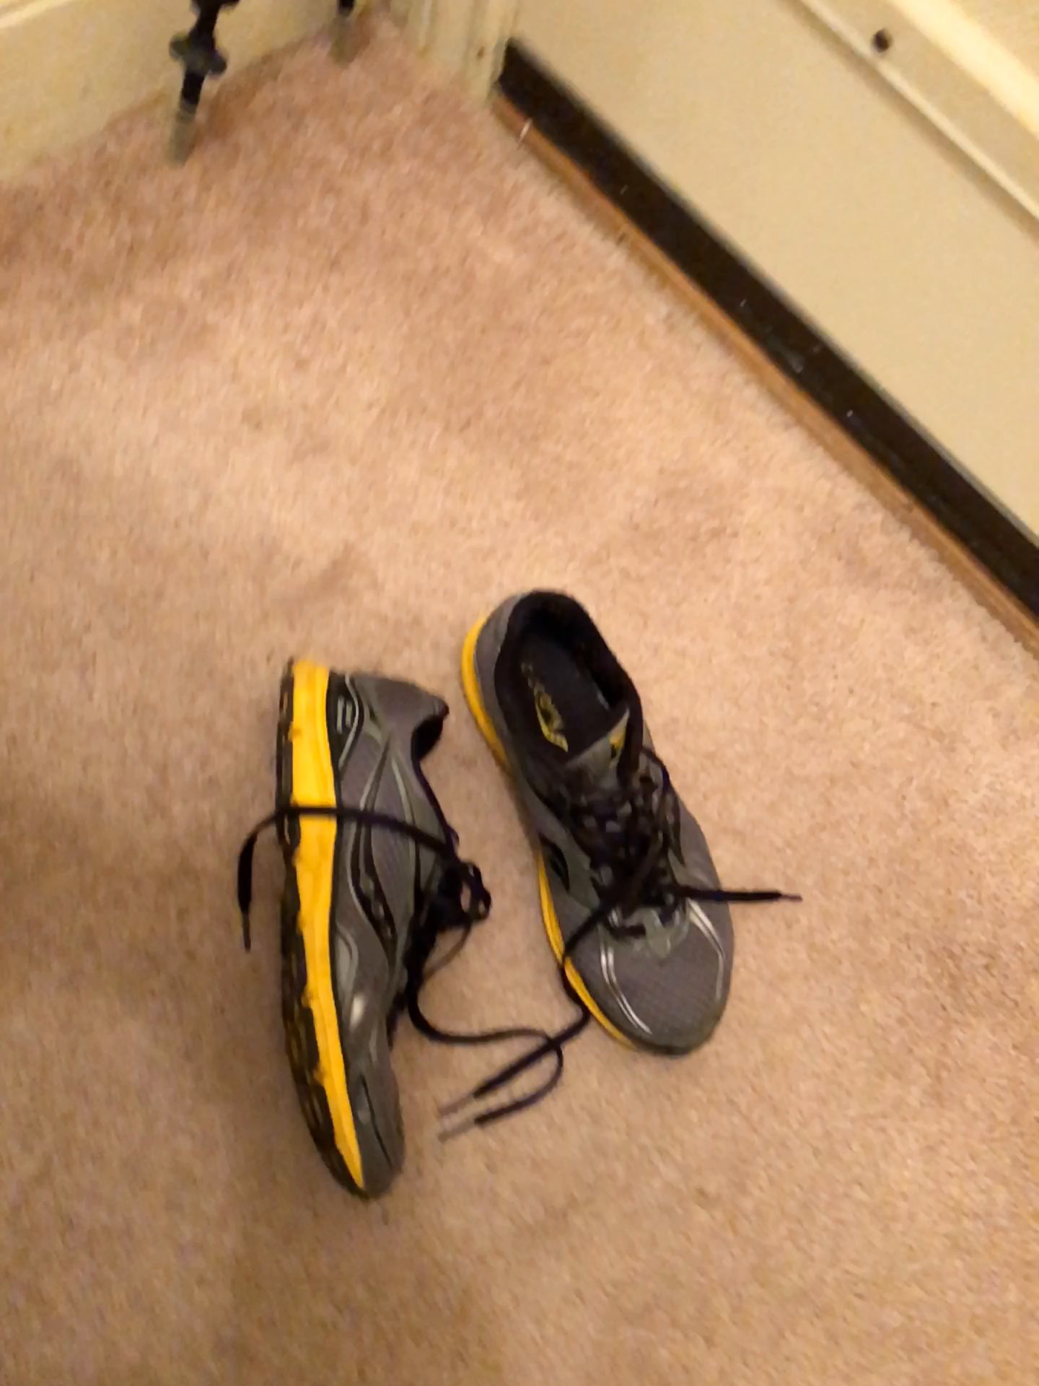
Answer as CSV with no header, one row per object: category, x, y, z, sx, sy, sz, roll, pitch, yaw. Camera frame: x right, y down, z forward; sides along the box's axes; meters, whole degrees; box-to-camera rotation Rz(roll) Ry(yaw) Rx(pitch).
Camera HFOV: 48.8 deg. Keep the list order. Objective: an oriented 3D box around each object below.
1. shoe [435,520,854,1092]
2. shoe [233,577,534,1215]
shoe,0.058,0.061,0.644,0.118,0.099,0.283,-15,74,-17
shoe,-0.079,0.101,0.603,0.109,0.118,0.293,-6,71,-12
